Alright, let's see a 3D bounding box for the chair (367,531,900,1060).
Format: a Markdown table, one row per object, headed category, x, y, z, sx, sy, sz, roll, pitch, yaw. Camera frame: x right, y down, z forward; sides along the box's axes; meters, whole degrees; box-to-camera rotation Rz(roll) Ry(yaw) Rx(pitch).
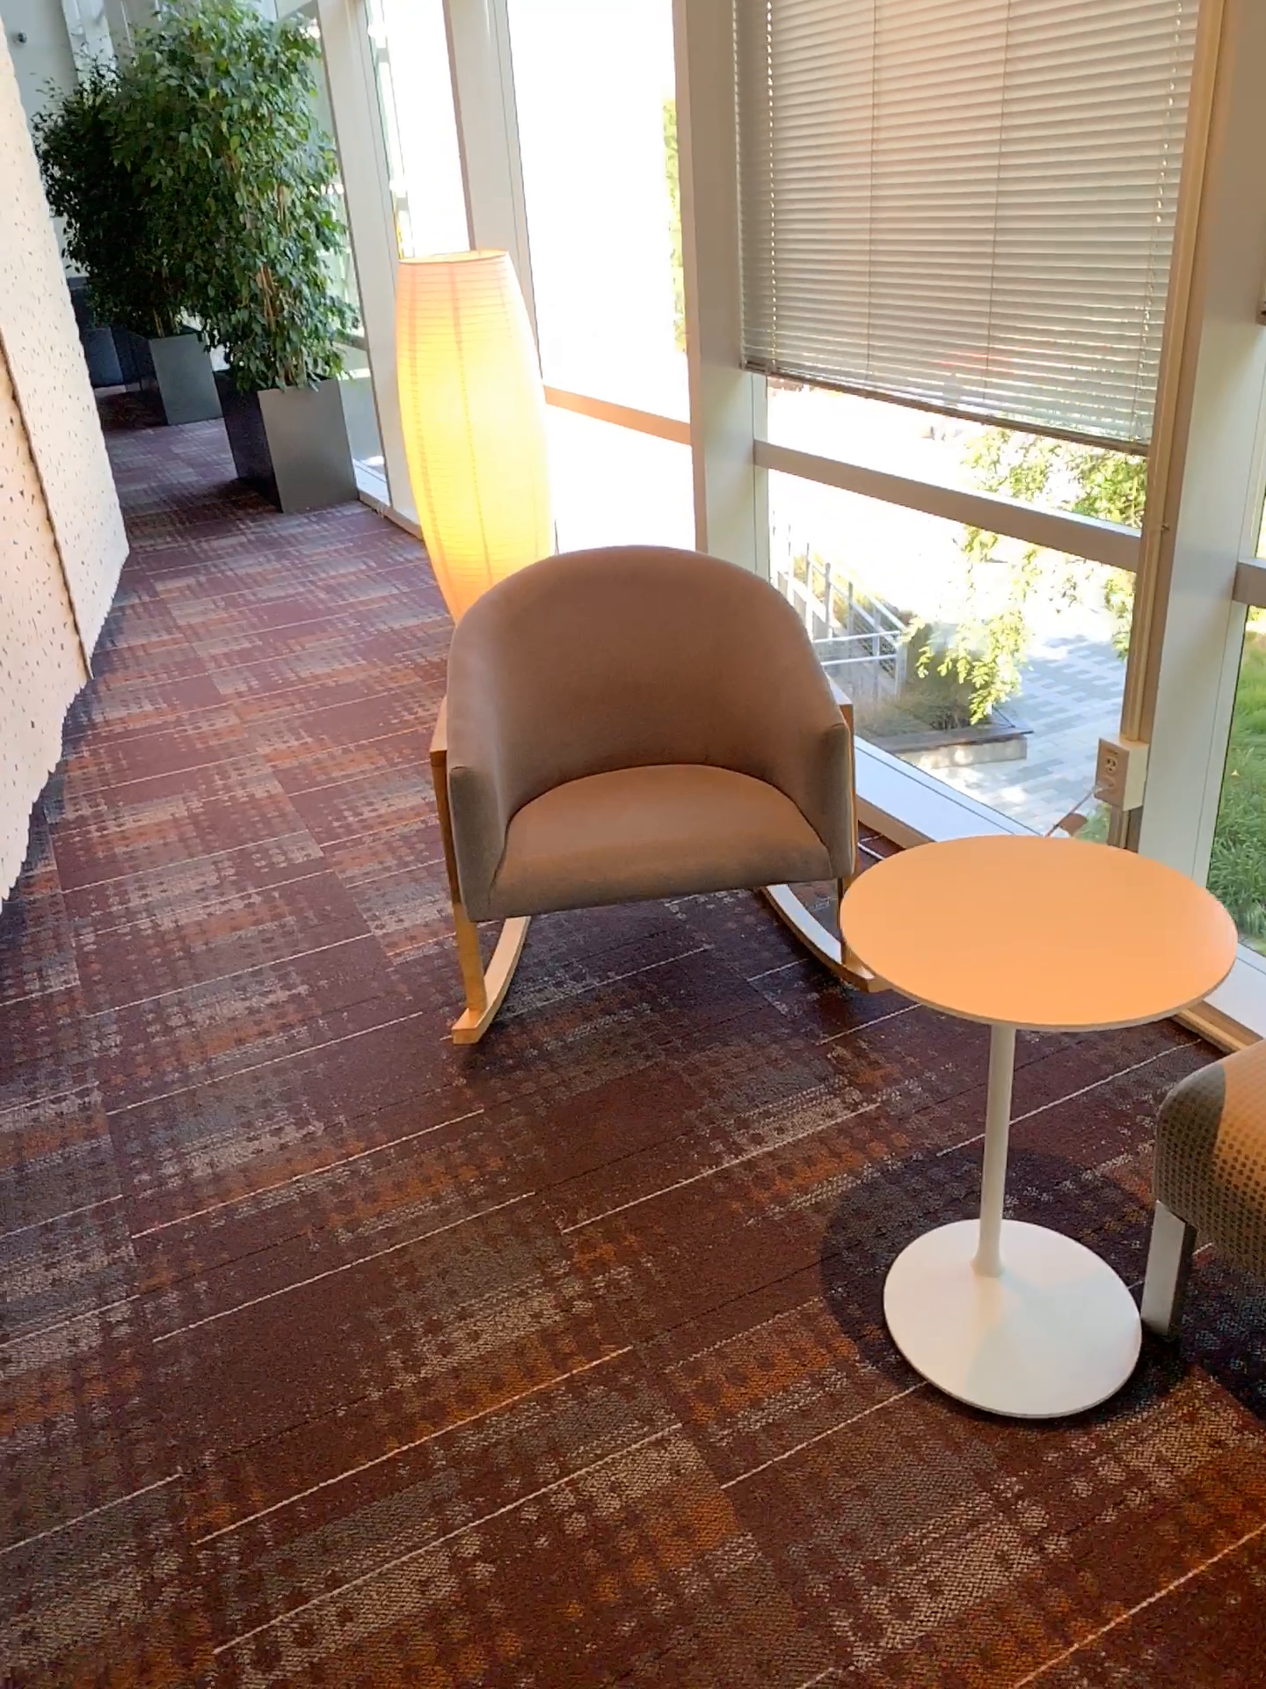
| category | x | y | z | sx | sy | sz | roll | pitch | yaw |
| --- | --- | --- | --- | --- | --- | --- | --- | --- | --- |
| chair | -0.026 | -0.159 | 2.592 | 0.850 | 0.656 | 0.915 | -6 | 27 | -4 |
